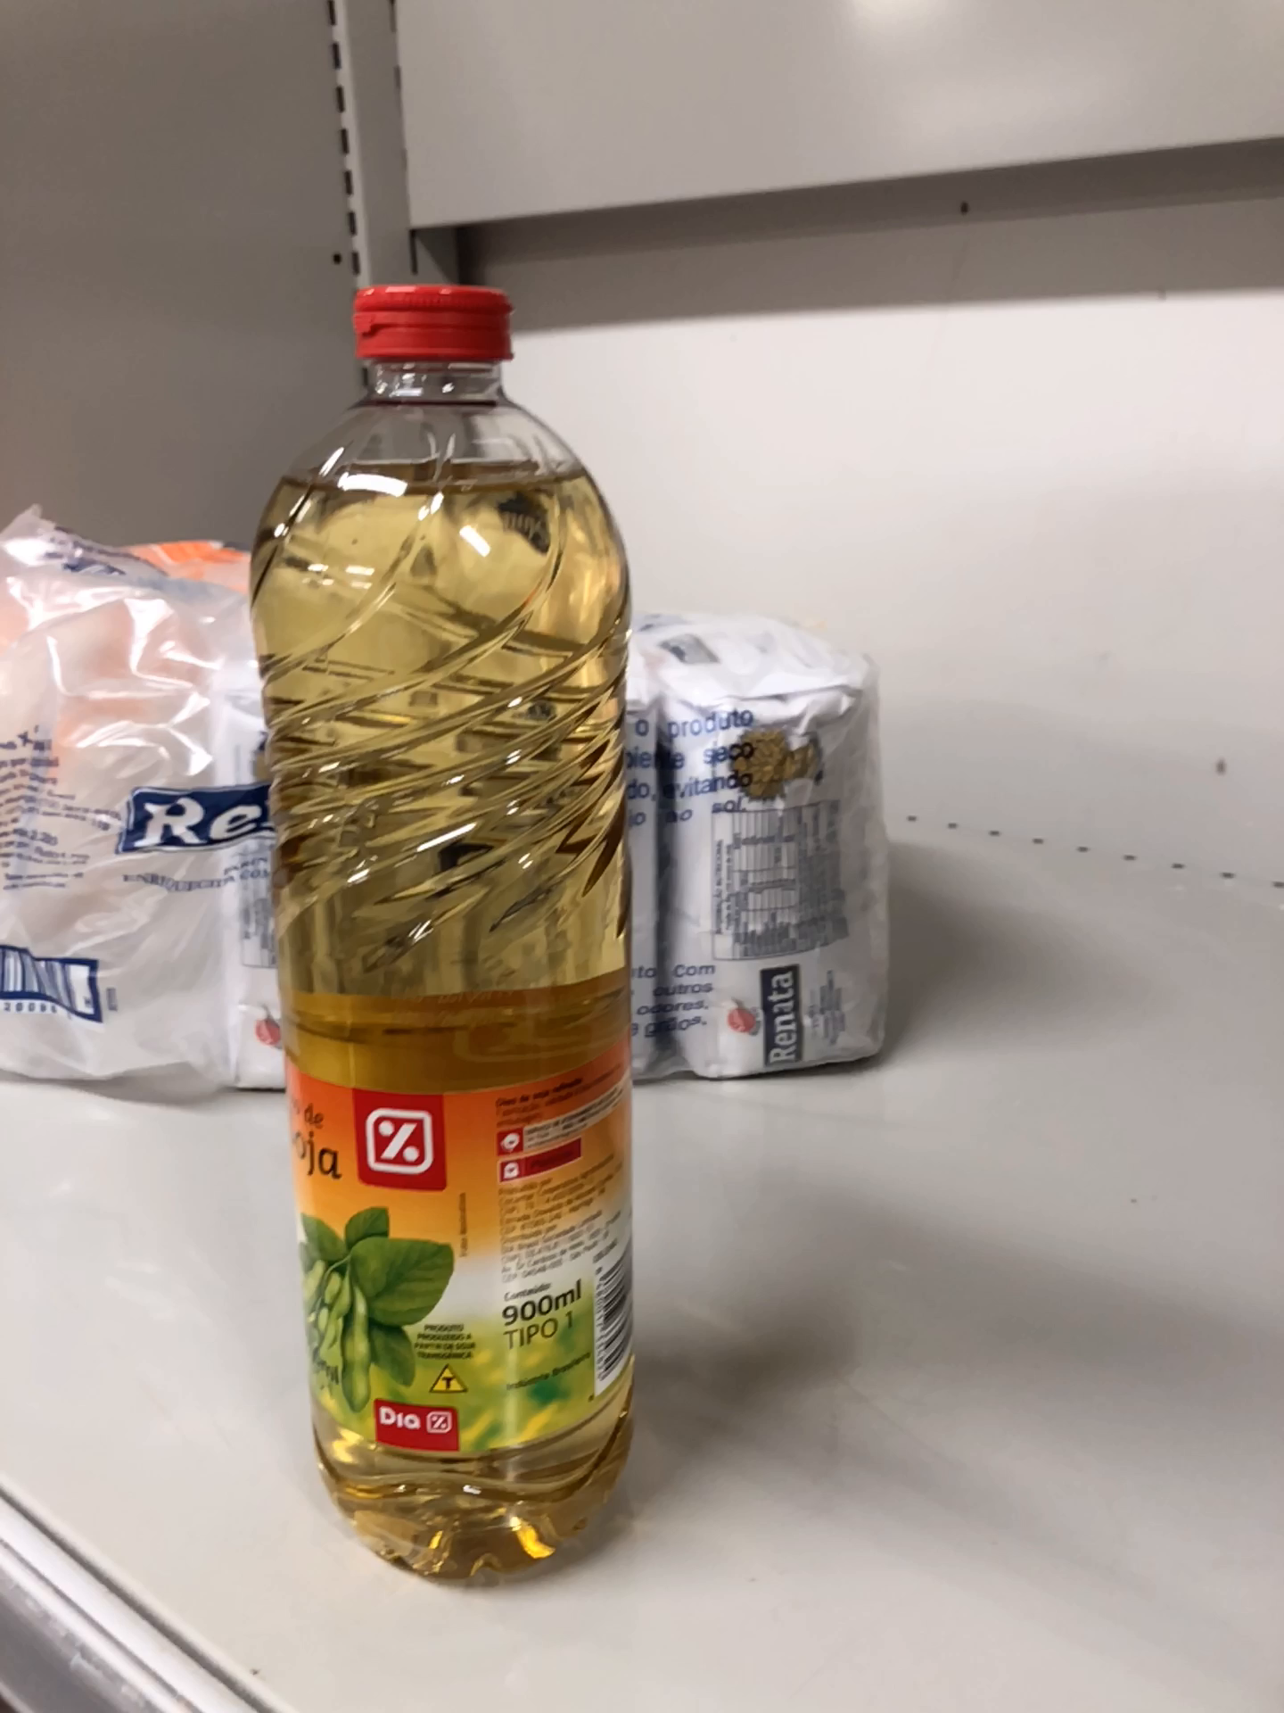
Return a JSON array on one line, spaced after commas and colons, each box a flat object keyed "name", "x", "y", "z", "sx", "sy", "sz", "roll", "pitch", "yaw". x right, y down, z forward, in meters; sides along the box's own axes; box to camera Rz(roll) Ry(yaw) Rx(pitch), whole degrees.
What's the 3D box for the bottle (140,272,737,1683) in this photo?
[{"name": "bottle", "x": -0.036, "y": 0.023, "z": 0.291, "sx": 0.070, "sy": 0.258, "sz": 0.080, "roll": -17, "pitch": 25, "yaw": -40}]
